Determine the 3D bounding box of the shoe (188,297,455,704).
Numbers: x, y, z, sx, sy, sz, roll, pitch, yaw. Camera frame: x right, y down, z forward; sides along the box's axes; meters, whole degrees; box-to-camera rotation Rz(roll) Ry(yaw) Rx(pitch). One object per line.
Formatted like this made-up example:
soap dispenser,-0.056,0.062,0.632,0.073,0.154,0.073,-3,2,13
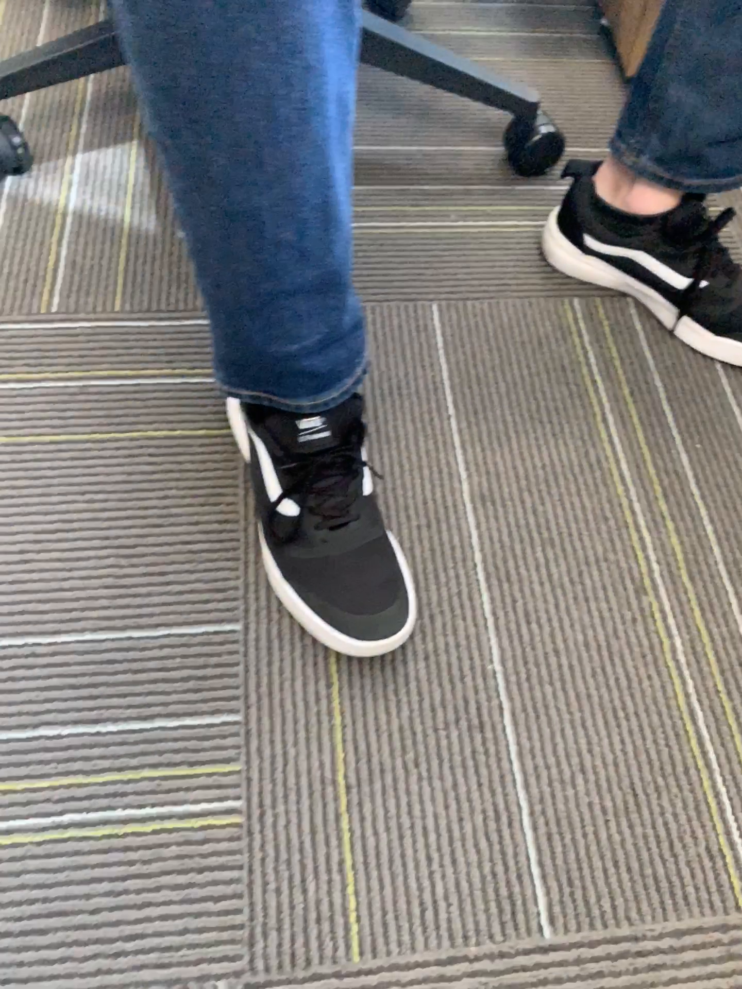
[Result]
shoe,-0.054,-0.003,0.673,0.120,0.120,0.321,-16,63,-13

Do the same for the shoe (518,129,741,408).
shoe,0.336,-0.243,0.815,0.320,0.110,0.120,33,63,14
